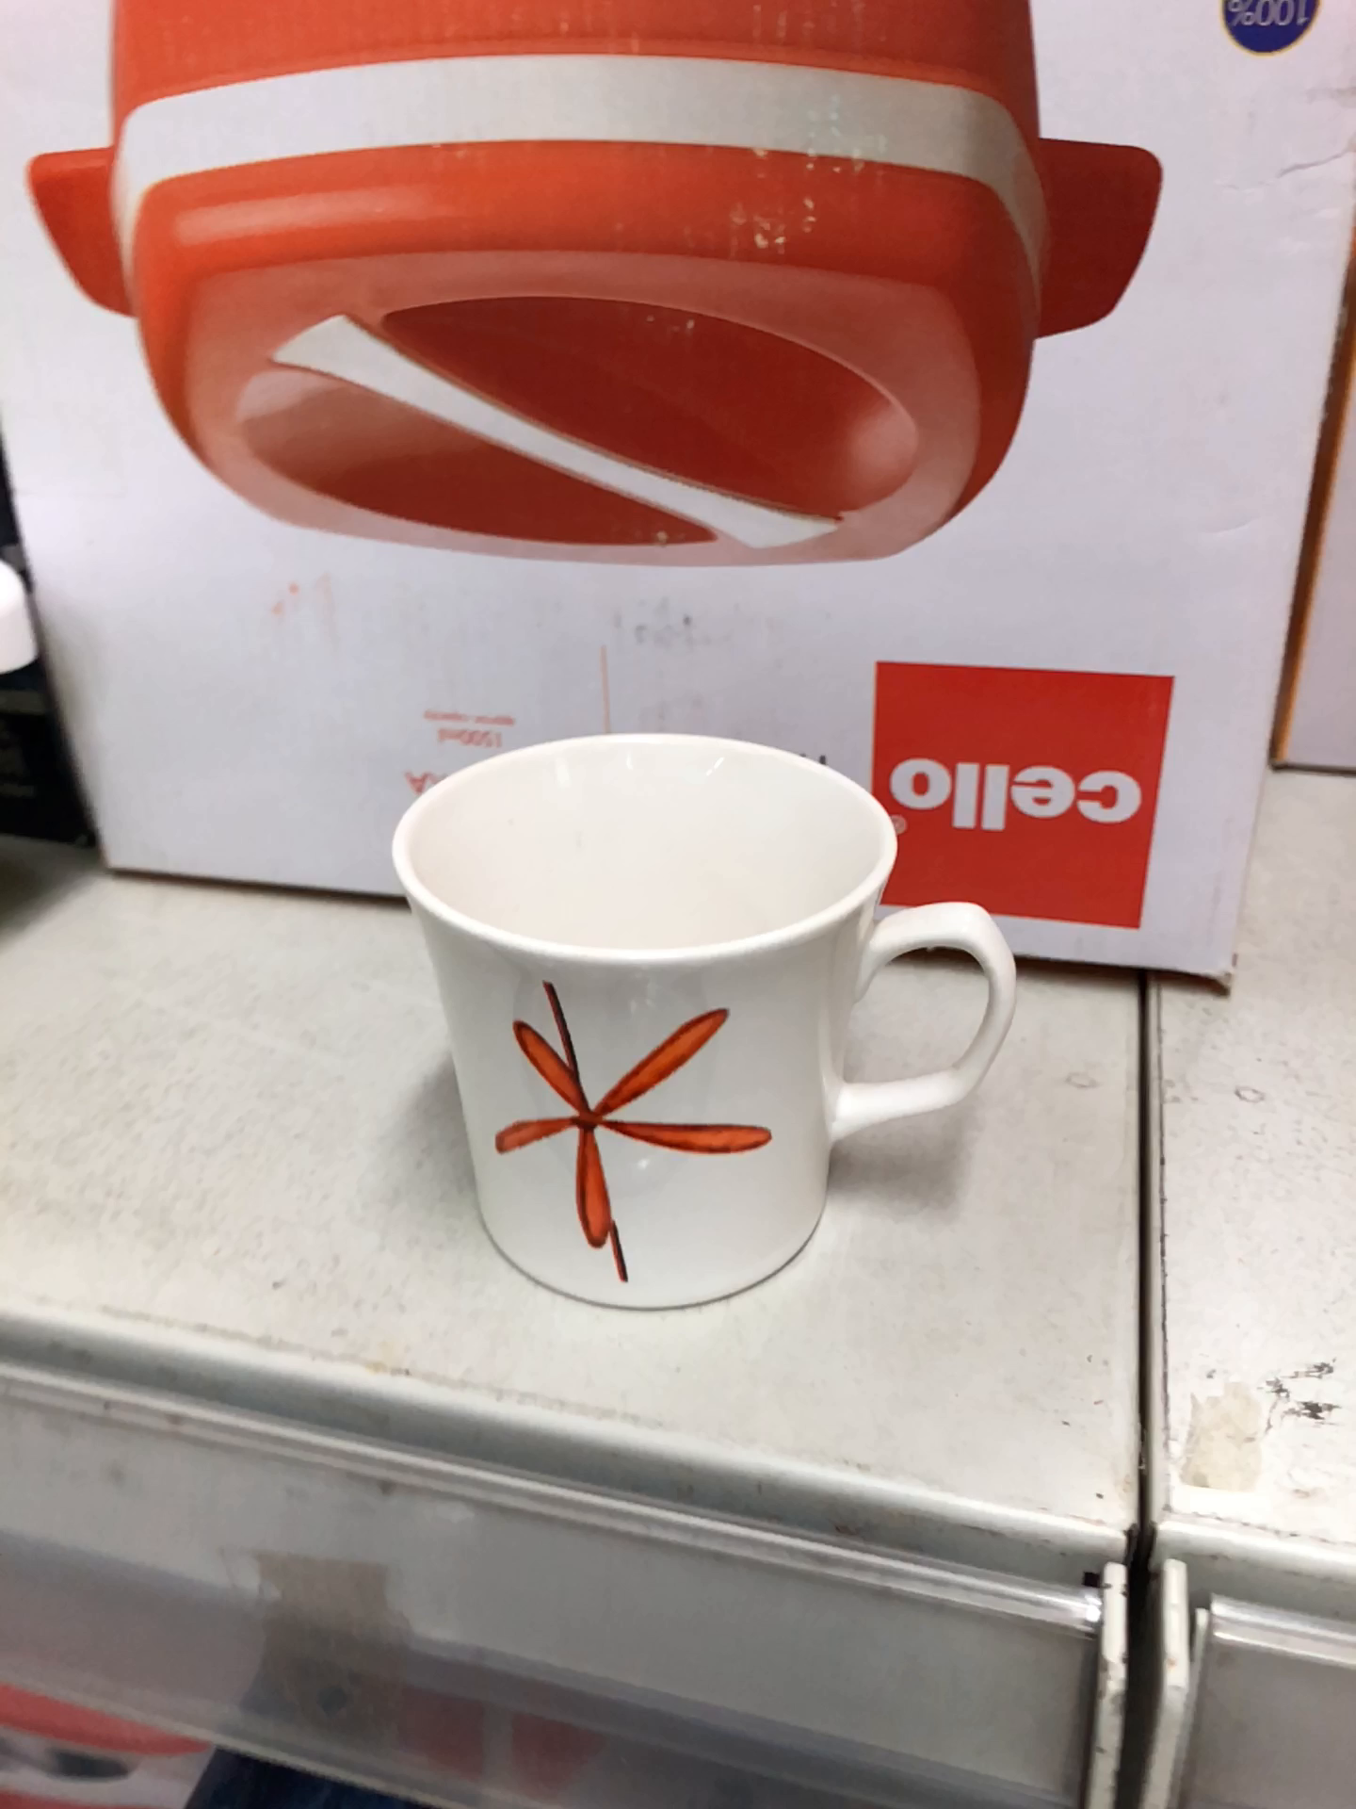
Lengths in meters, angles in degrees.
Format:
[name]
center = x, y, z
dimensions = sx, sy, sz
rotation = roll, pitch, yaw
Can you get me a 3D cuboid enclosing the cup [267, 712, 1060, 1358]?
[cup]
center = 0.001, 0.016, 0.238
dimensions = 0.100, 0.070, 0.070
rotation = 1, 29, 5
